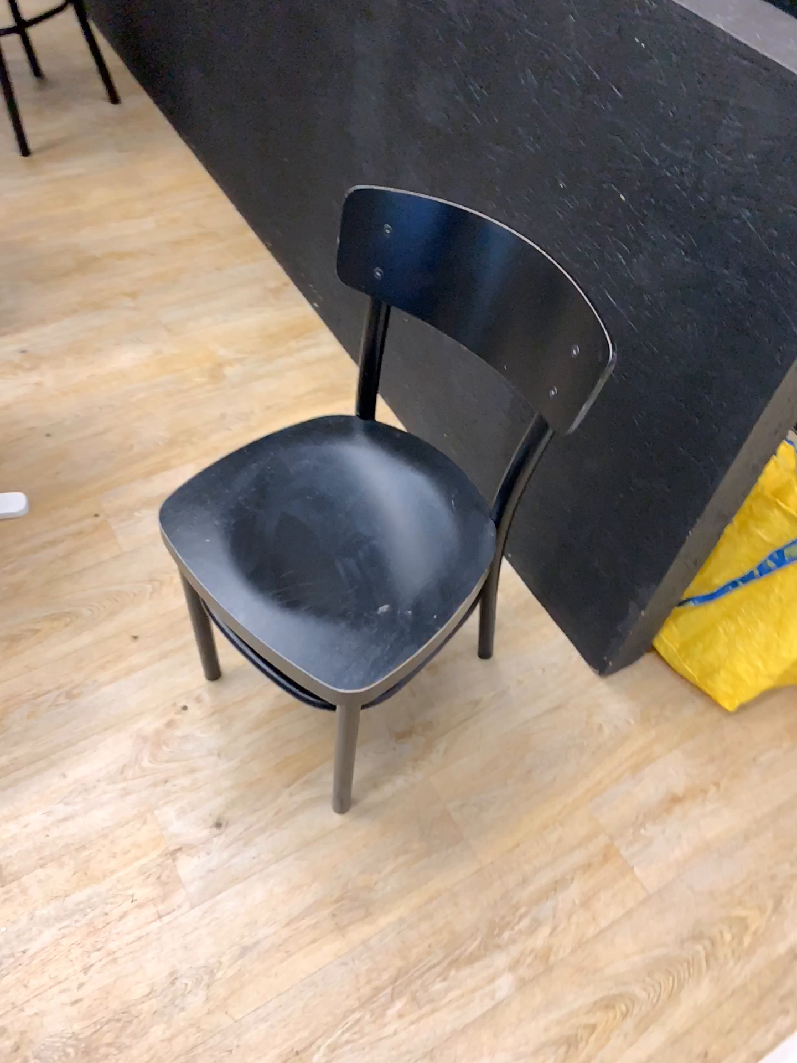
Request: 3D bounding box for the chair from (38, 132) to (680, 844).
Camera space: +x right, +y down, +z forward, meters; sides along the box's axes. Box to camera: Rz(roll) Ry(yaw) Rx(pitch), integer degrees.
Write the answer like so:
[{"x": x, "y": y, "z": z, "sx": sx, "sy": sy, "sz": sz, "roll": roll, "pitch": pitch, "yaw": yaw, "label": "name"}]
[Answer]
[{"x": -0.057, "y": -0.021, "z": 1.065, "sx": 0.441, "sy": 0.698, "sz": 0.441, "roll": 38, "pitch": 58, "yaw": 22, "label": "chair"}]
